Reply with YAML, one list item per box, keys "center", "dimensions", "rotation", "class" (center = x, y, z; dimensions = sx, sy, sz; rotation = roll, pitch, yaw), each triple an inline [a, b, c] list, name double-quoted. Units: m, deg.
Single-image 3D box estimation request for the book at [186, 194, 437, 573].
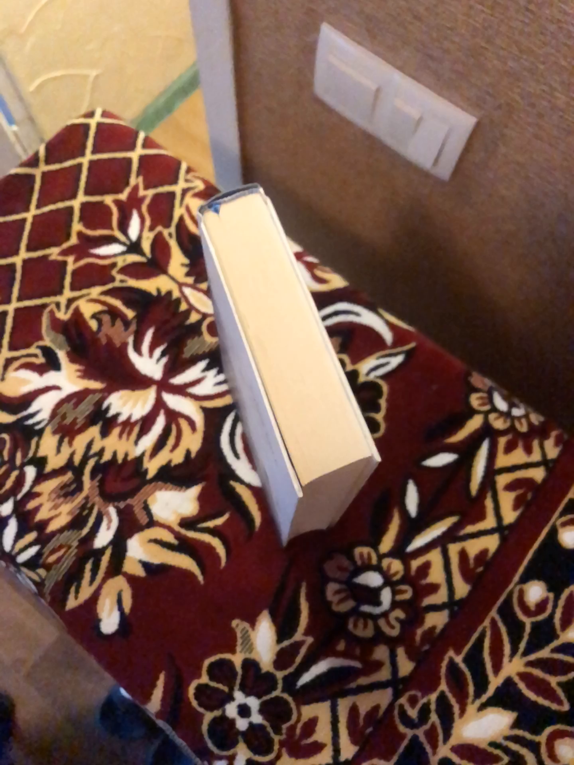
- center: [0.004, 0.021, 0.352]
  dimensions: [0.048, 0.201, 0.145]
  rotation: [-21, 73, -8]
  class: "book"
